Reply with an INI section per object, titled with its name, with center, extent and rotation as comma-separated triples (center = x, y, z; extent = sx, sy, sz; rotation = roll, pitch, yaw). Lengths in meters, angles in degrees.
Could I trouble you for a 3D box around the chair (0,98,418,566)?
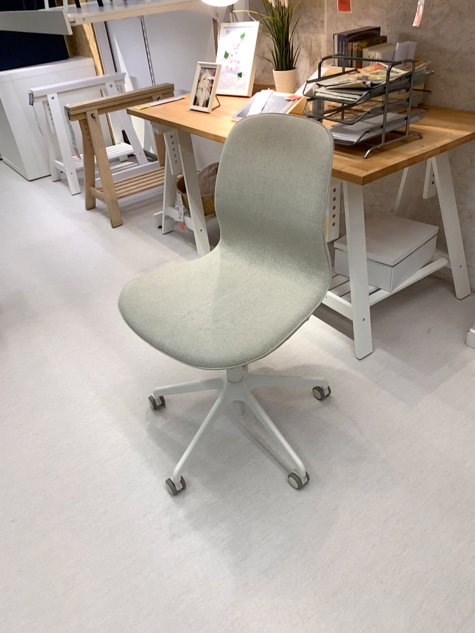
[chair]
center = -0.049, -0.024, 1.298
extent = 0.660, 0.866, 0.662
rotation = -30, 41, -30
